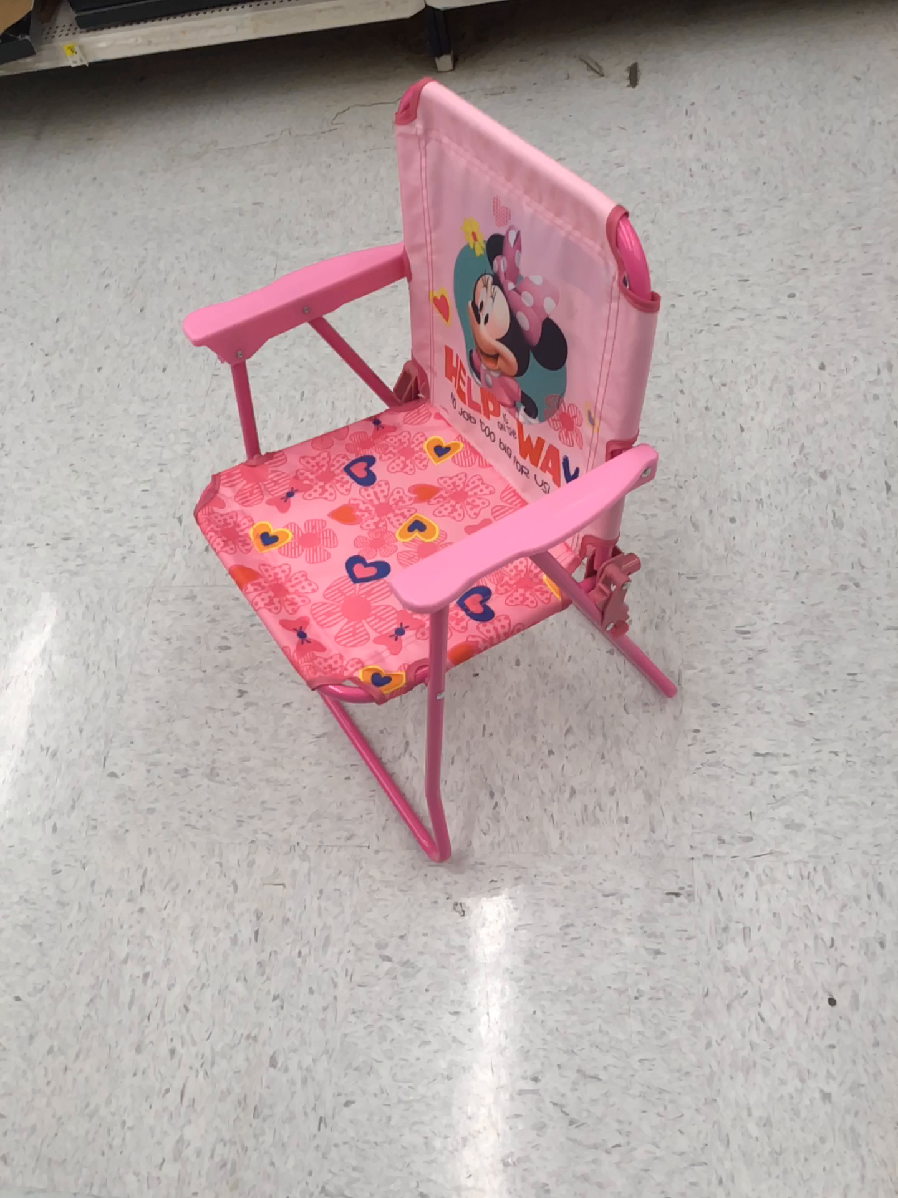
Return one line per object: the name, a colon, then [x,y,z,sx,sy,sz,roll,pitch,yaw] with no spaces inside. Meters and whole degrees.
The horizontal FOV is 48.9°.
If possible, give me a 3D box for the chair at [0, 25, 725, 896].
chair: [-0.046,-0.075,0.793,0.340,0.489,0.361,-34,58,-9]
